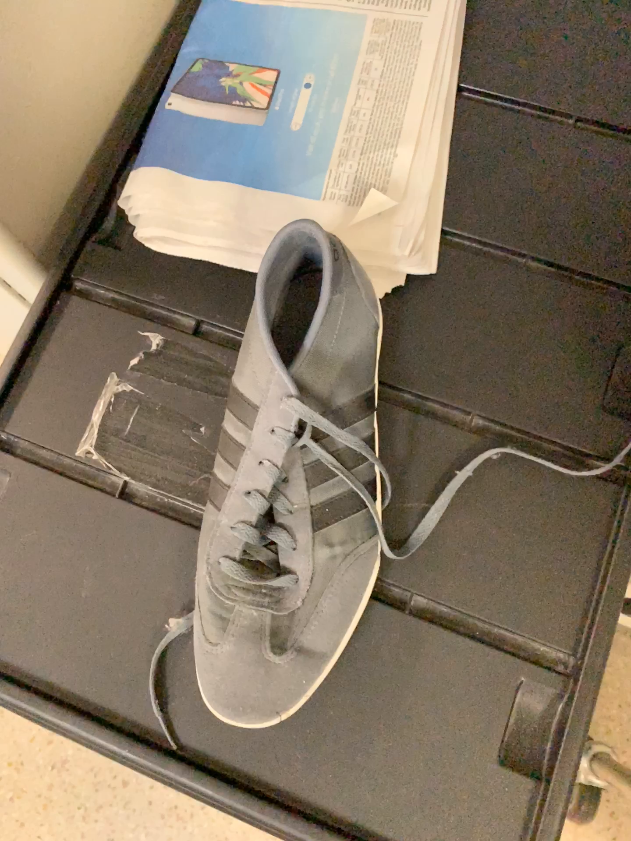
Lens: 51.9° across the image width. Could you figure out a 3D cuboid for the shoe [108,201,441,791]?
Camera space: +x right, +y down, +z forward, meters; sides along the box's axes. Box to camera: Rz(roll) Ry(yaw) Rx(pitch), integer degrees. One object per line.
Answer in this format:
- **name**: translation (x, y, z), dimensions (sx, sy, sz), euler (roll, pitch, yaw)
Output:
- **shoe**: translation (-0.010, 0.028, 0.345), dimensions (0.113, 0.077, 0.268), euler (8, 75, 6)
